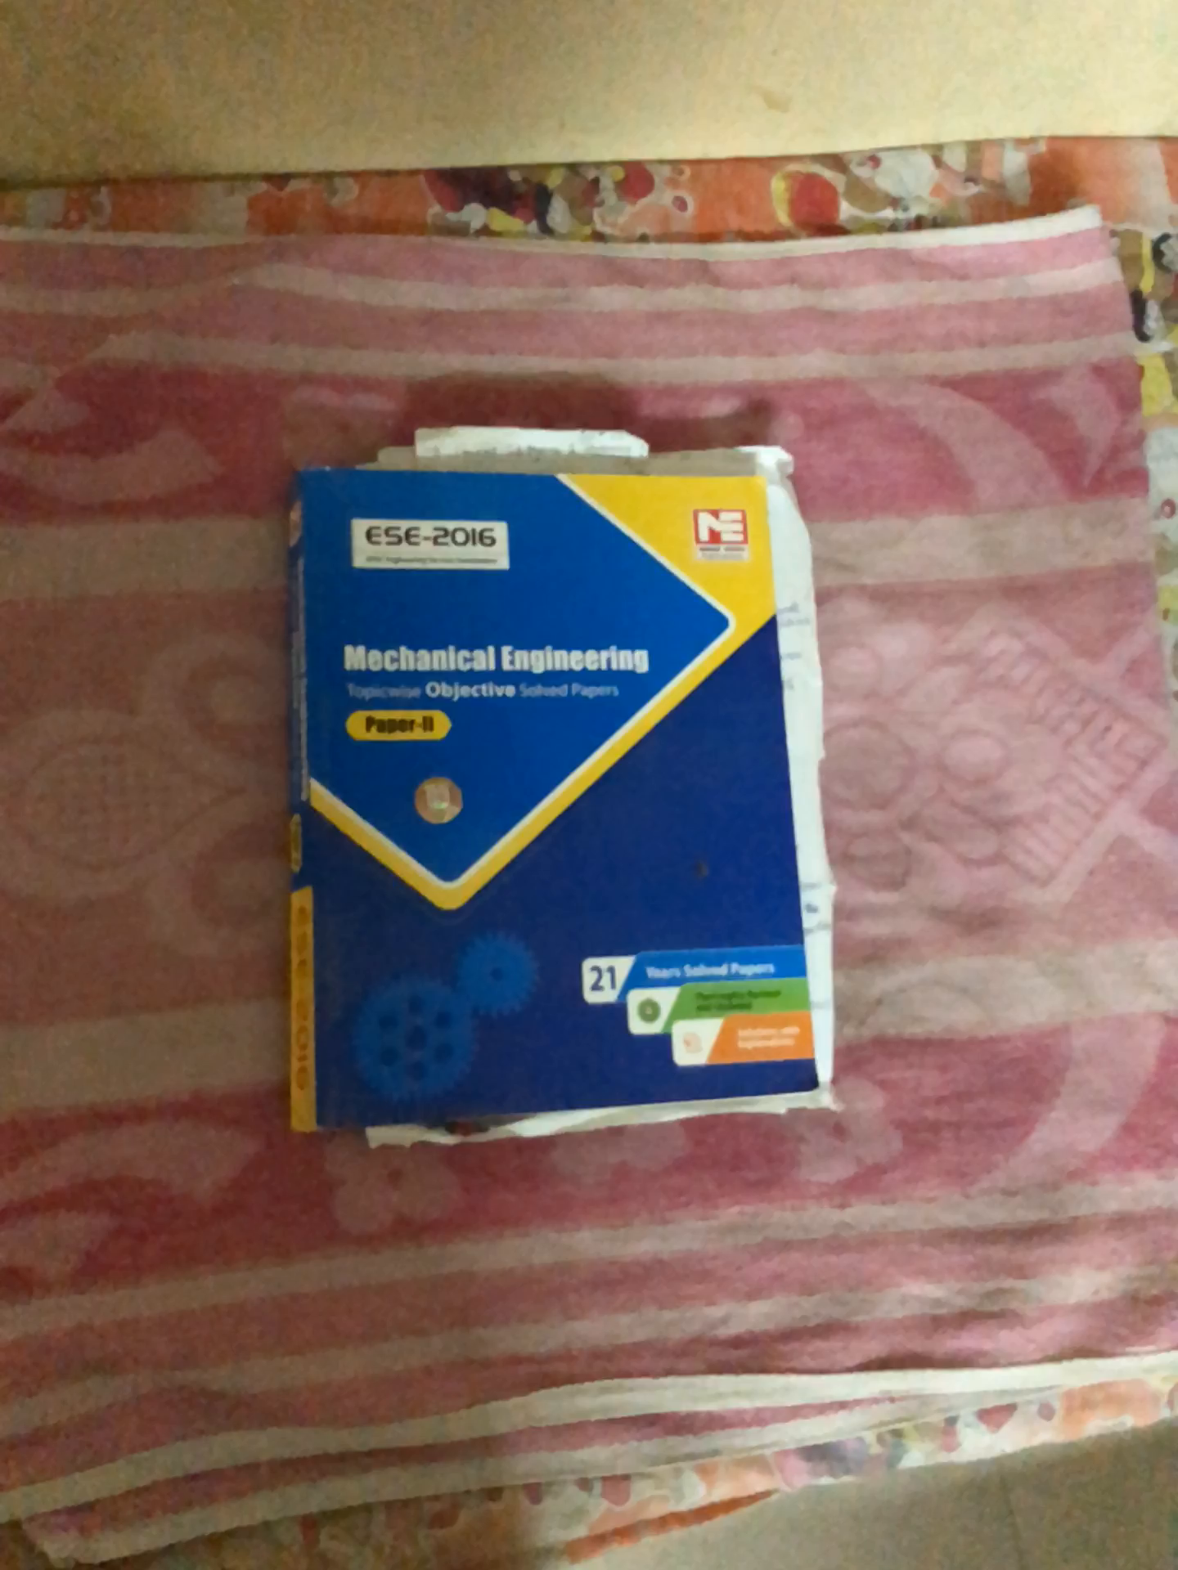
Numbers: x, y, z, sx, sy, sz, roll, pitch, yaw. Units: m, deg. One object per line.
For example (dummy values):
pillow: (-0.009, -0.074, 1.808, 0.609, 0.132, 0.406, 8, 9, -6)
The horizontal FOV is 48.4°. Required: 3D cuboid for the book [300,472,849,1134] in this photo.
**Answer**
book: (-0.012, 0.003, 0.572, 0.215, 0.055, 0.270, -2, 79, -10)
